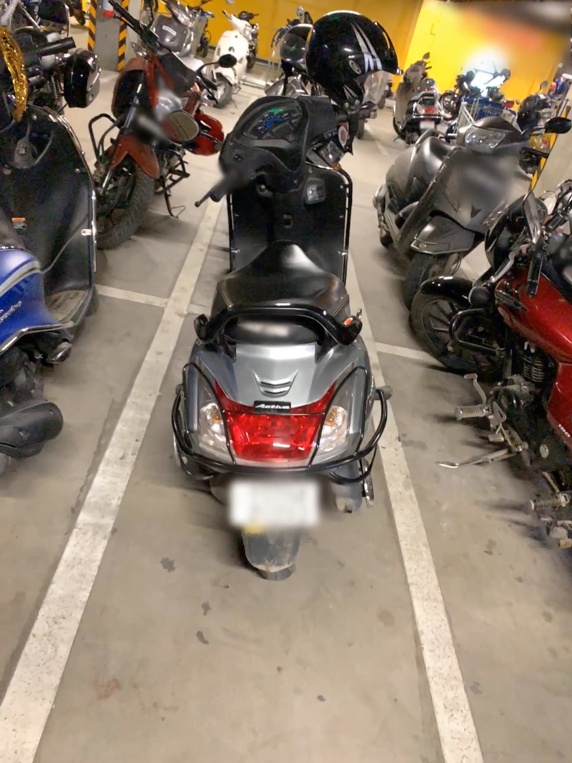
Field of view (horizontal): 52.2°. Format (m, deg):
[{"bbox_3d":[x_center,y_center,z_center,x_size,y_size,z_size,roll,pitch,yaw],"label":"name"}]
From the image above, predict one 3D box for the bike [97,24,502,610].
[{"bbox_3d":[-0.076,-0.349,1.869,0.630,1.089,1.541,10,34,-9],"label":"bike"}]
